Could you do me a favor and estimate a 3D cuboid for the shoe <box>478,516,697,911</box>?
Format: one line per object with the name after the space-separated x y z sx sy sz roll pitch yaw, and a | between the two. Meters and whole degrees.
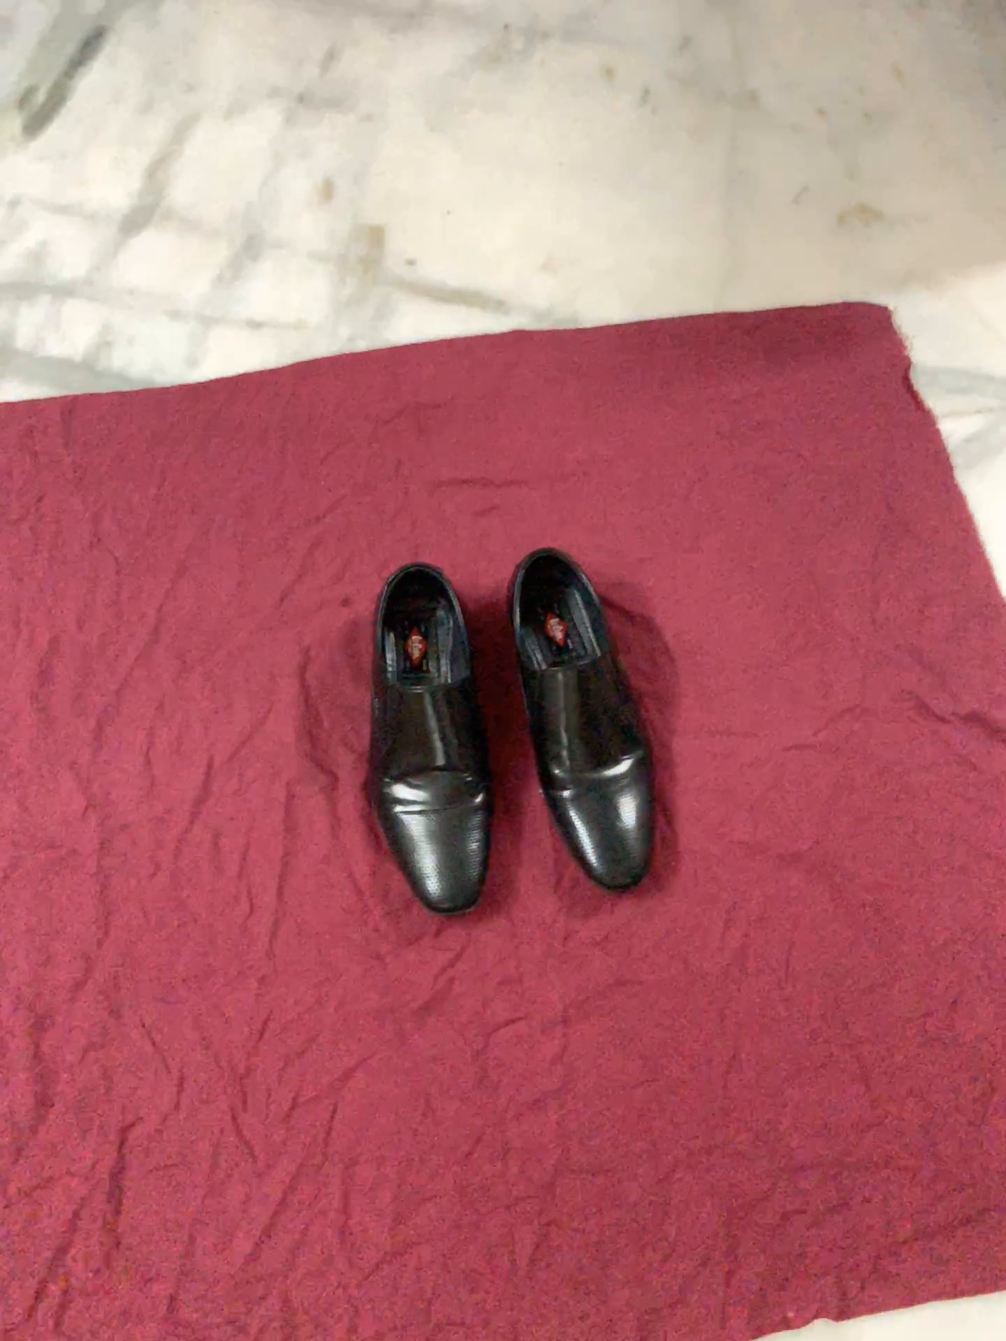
0.058 0.031 0.836 0.100 0.100 0.291 -11 66 -6 | shoe

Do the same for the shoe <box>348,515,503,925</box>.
-0.063 0.035 0.812 0.100 0.100 0.301 -4 65 -3 | shoe
